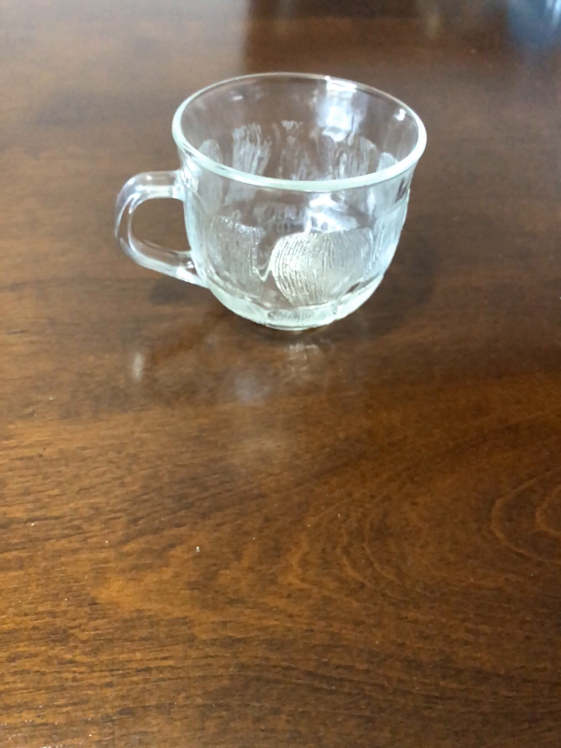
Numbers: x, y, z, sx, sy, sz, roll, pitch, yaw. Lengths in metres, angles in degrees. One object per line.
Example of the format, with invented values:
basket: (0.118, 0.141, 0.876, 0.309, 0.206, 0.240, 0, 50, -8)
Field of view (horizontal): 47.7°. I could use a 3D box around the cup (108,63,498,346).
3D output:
cup: (0.000, -0.058, 0.205, 0.100, 0.050, 0.080, -5, 46, -8)
